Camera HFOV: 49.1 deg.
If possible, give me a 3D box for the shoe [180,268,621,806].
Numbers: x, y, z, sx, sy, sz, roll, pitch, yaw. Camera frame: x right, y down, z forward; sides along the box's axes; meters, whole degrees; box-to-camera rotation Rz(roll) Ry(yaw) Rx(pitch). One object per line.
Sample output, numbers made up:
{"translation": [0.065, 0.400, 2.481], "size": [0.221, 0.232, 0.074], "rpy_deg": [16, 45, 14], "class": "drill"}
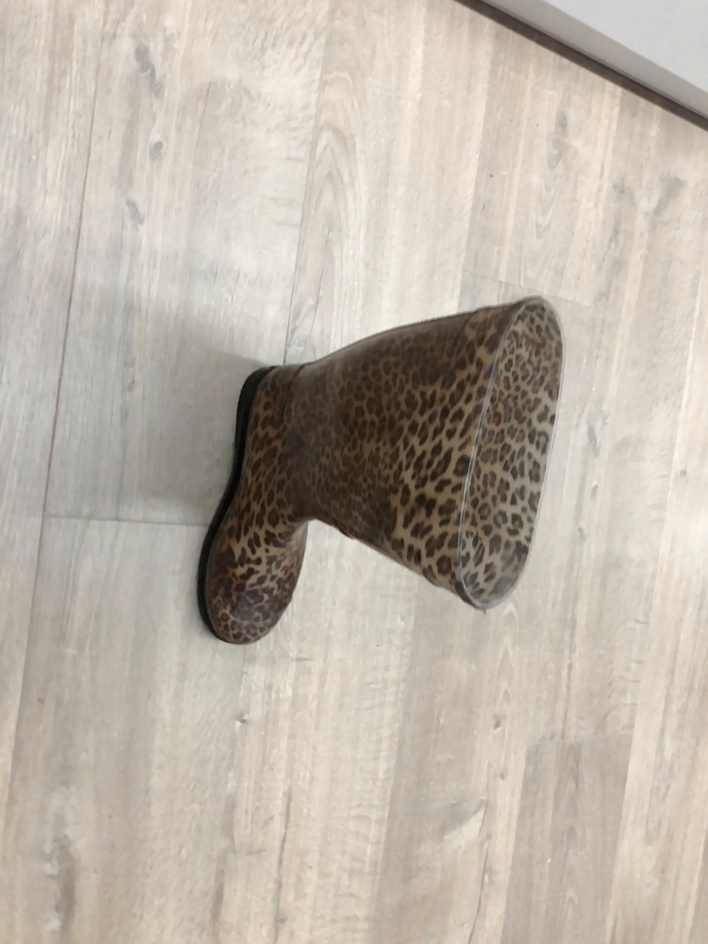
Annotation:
{"translation": [0.000, 0.024, 0.563], "size": [0.090, 0.339, 0.280], "rpy_deg": [12, 89, -31], "class": "shoe"}
